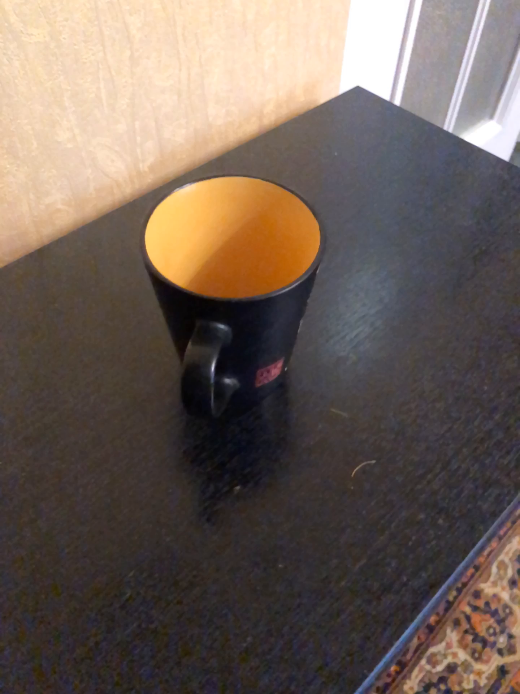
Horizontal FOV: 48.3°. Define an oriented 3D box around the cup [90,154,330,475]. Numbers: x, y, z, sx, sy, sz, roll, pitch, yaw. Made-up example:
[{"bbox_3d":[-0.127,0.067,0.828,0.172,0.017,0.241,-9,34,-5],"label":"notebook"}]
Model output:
[{"bbox_3d":[-0.017,-0.018,0.313,0.090,0.100,0.131,7,53,4],"label":"cup"}]
